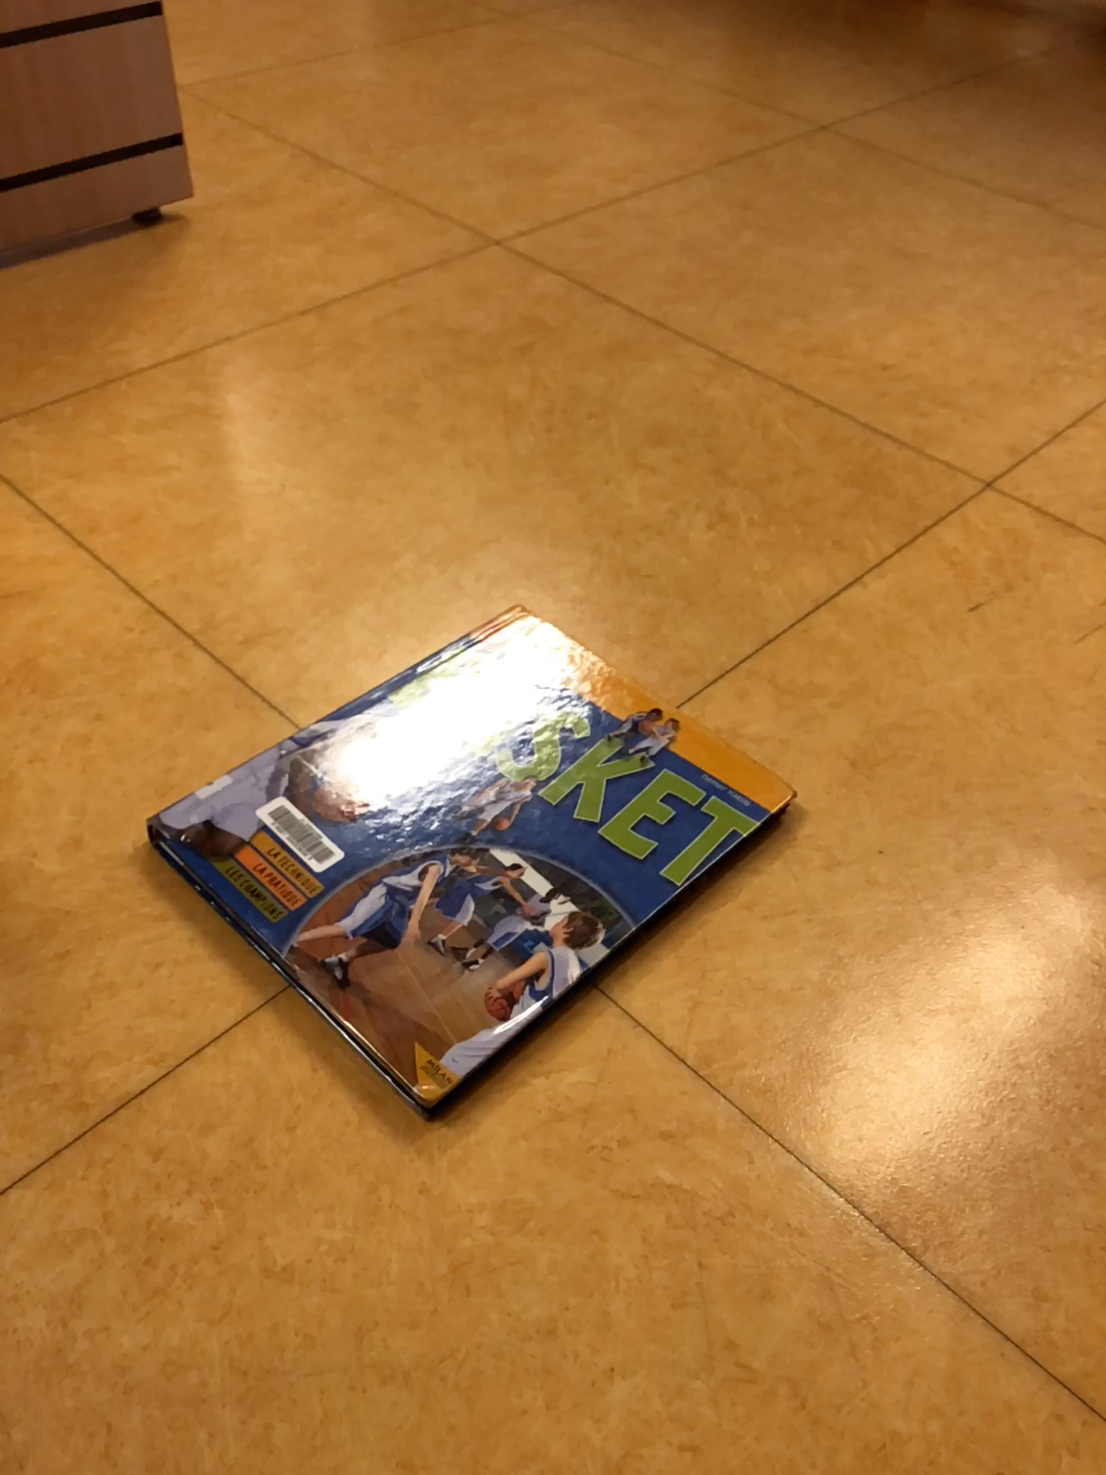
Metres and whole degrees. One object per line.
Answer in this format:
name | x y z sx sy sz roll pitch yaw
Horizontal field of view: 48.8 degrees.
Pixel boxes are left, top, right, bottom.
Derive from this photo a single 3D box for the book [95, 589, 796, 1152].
book | -0.046 0.038 0.585 0.210 0.020 0.258 36 52 28
